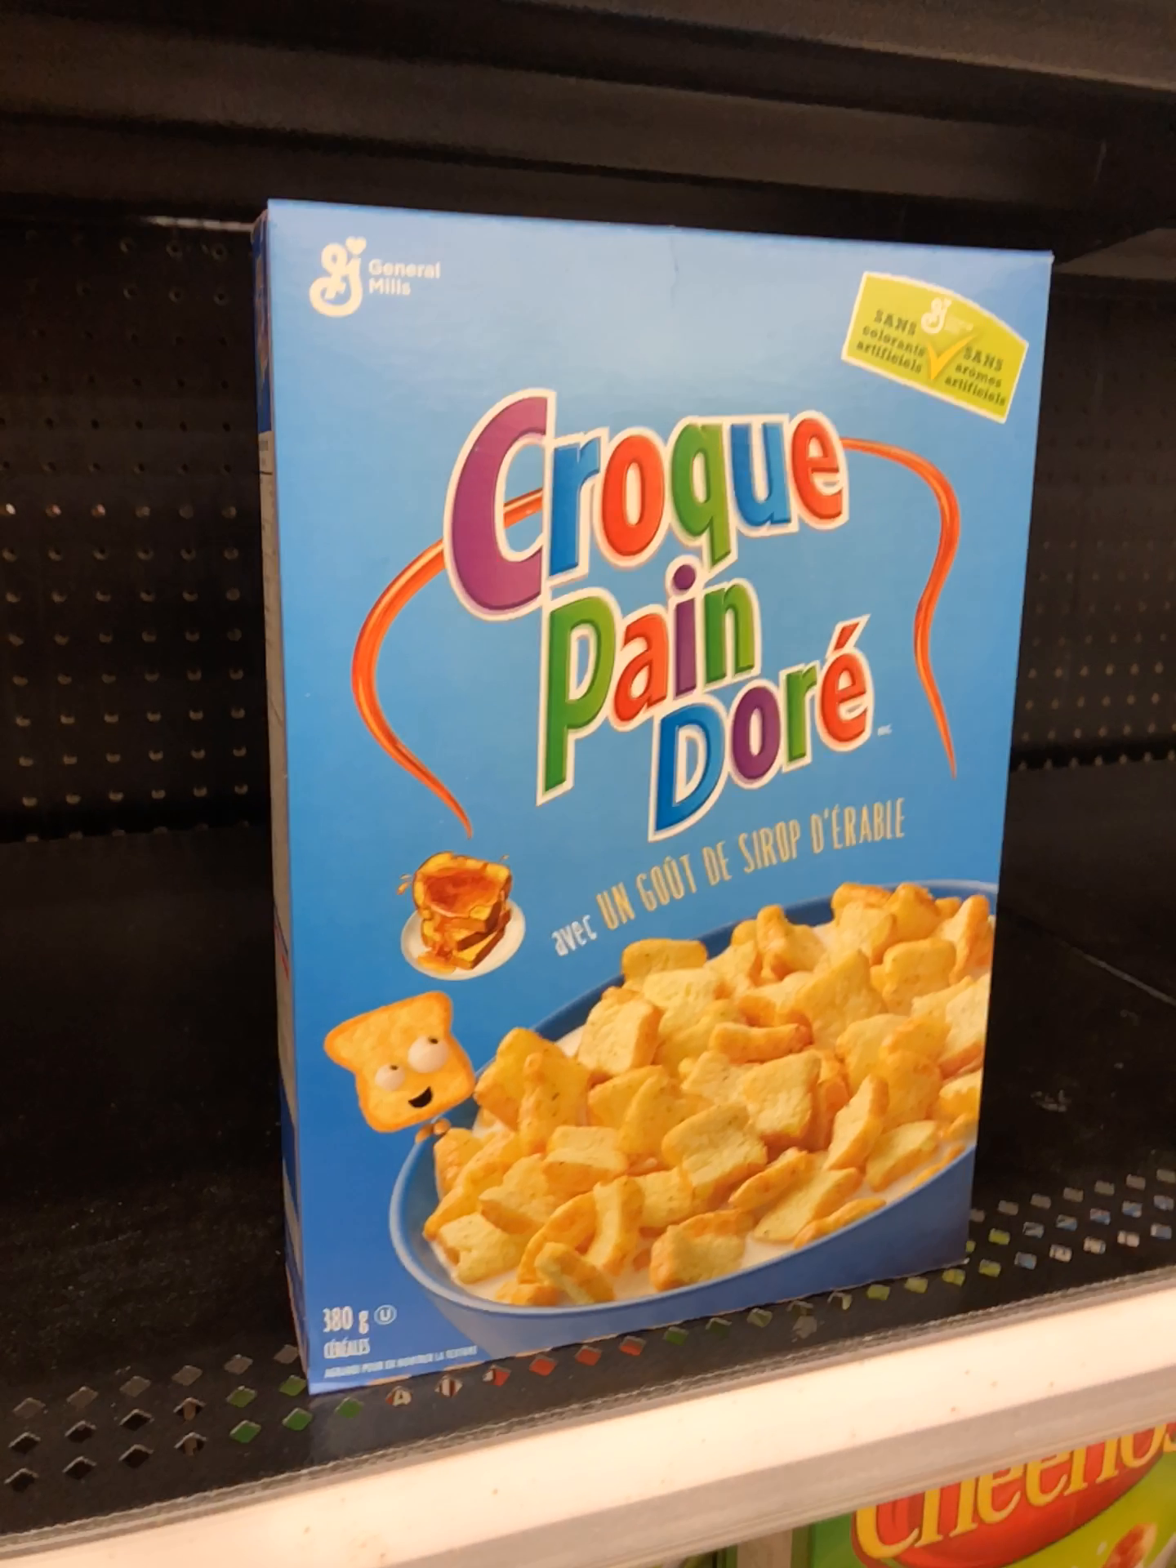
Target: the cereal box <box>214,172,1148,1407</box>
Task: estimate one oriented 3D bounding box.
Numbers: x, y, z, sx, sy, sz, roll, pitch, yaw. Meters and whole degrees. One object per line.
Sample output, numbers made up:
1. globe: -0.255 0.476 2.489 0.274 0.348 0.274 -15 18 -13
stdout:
1. cereal box: 0.021 0.002 0.335 0.210 0.269 0.060 -3 14 -18
